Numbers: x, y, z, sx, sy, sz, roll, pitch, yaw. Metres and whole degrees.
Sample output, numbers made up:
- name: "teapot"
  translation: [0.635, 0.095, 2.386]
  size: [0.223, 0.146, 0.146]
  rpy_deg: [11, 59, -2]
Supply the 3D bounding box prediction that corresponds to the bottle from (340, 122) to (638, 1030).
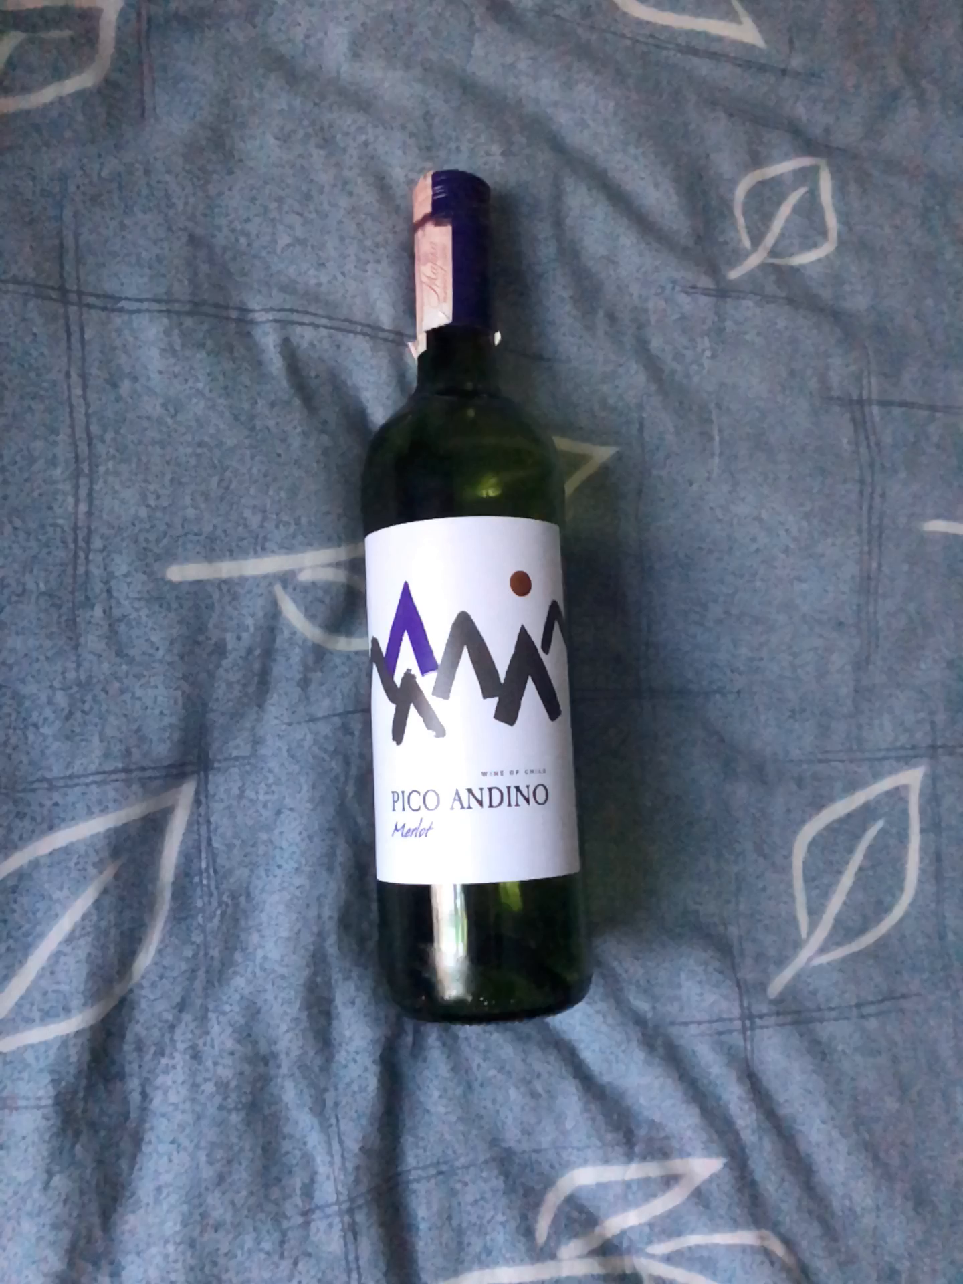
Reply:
- name: "bottle"
  translation: [-0.001, -0.024, 0.379]
  size: [0.080, 0.080, 0.290]
  rpy_deg: [-3, 84, -2]
